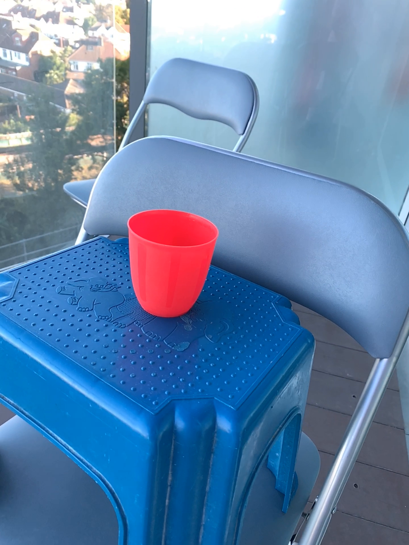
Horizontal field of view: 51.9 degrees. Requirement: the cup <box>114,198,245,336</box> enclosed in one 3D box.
[{"bbox_3d":[-0.024,-0.009,0.384,0.086,0.077,0.074,24,37,26],"label":"cup"}]
